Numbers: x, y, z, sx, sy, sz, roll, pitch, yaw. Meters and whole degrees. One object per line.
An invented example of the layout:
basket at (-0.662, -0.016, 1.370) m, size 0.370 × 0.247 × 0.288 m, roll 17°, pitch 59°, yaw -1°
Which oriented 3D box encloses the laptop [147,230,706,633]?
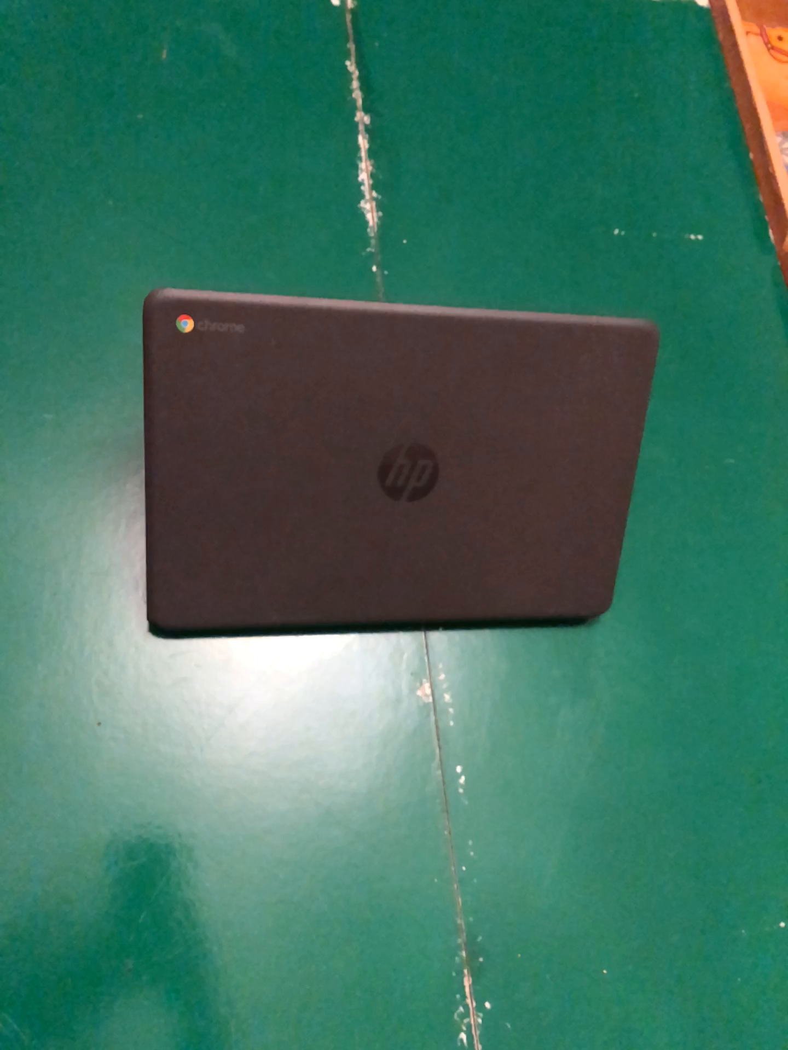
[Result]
laptop at (0.006, -0.050, 0.573) m, size 0.316 × 0.144 × 0.208 m, roll 0°, pitch 70°, yaw -14°
